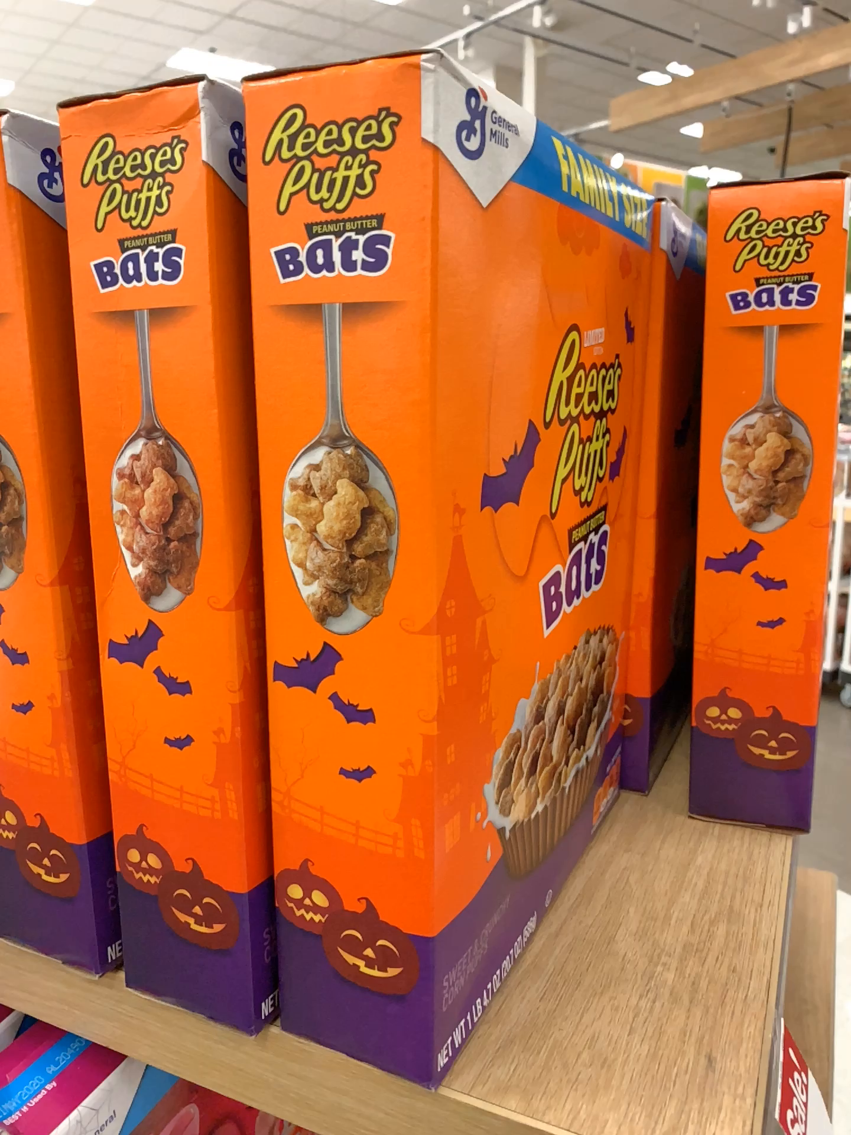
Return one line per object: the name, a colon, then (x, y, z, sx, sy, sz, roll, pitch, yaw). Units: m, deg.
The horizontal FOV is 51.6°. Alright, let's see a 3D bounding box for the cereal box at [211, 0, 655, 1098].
cereal box: (0.026, -0.013, 0.364, 0.070, 0.309, 0.240, 6, 13, 26)
